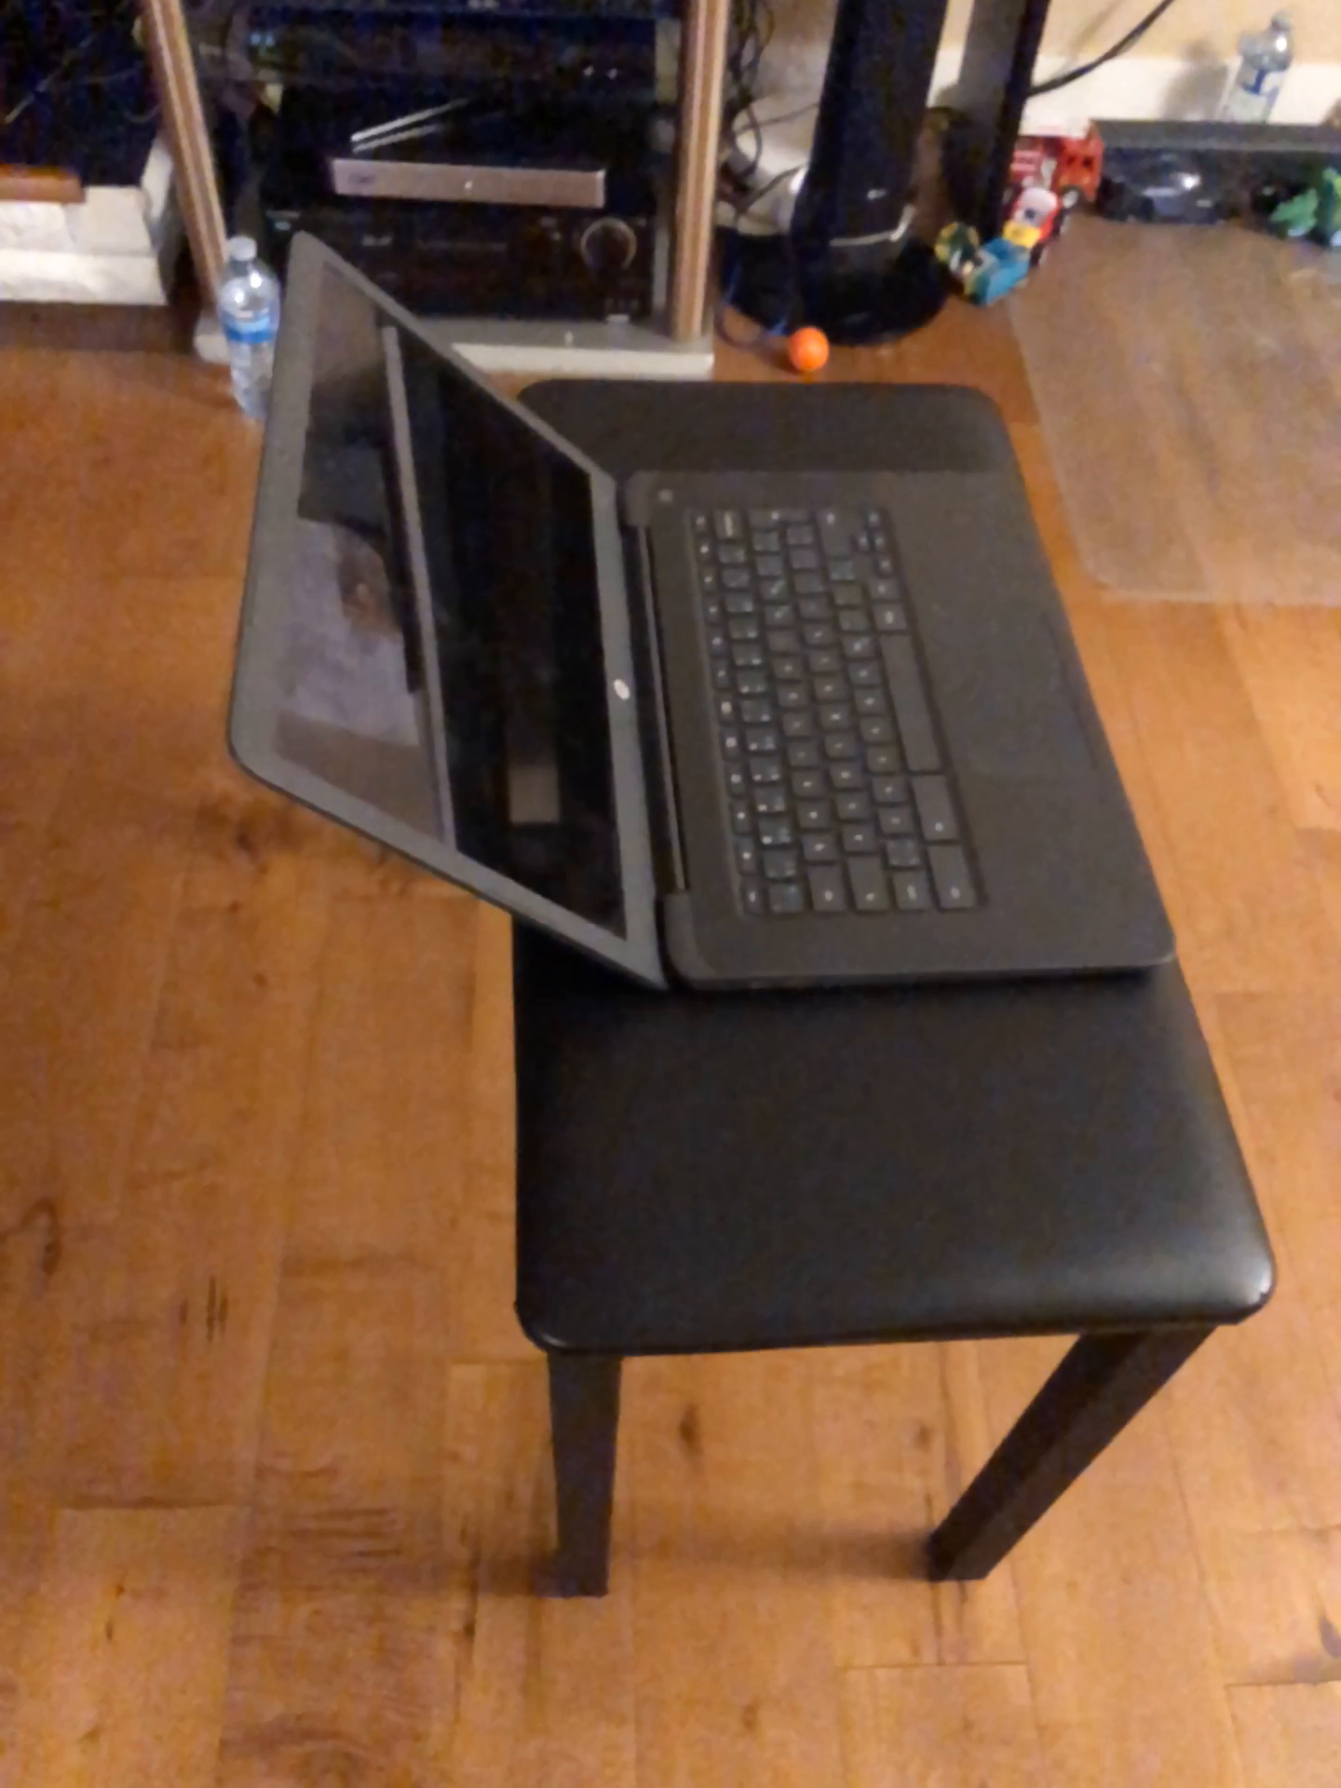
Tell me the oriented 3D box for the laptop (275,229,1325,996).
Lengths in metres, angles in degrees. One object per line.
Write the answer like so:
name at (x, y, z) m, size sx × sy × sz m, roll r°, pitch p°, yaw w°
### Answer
laptop at (0.031, -0.138, 0.656) m, size 0.362 × 0.143 × 0.318 m, roll -3°, pitch 54°, yaw -4°
